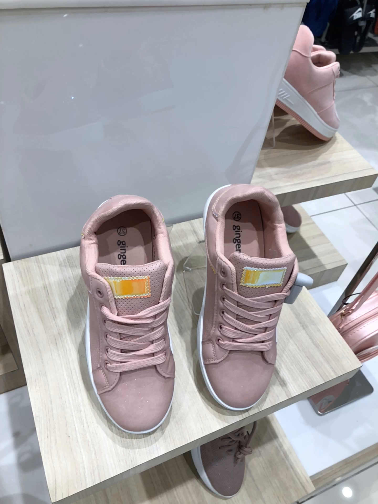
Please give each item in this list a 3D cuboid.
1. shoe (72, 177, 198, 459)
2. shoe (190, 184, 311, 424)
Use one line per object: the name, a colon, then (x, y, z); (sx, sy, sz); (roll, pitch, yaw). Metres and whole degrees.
shoe: (-0.060, 0.060, 0.448); (0.100, 0.100, 0.260); (-4, 91, -12)
shoe: (0.063, 0.052, 0.483); (0.100, 0.250, 0.100); (2, 6, -8)
